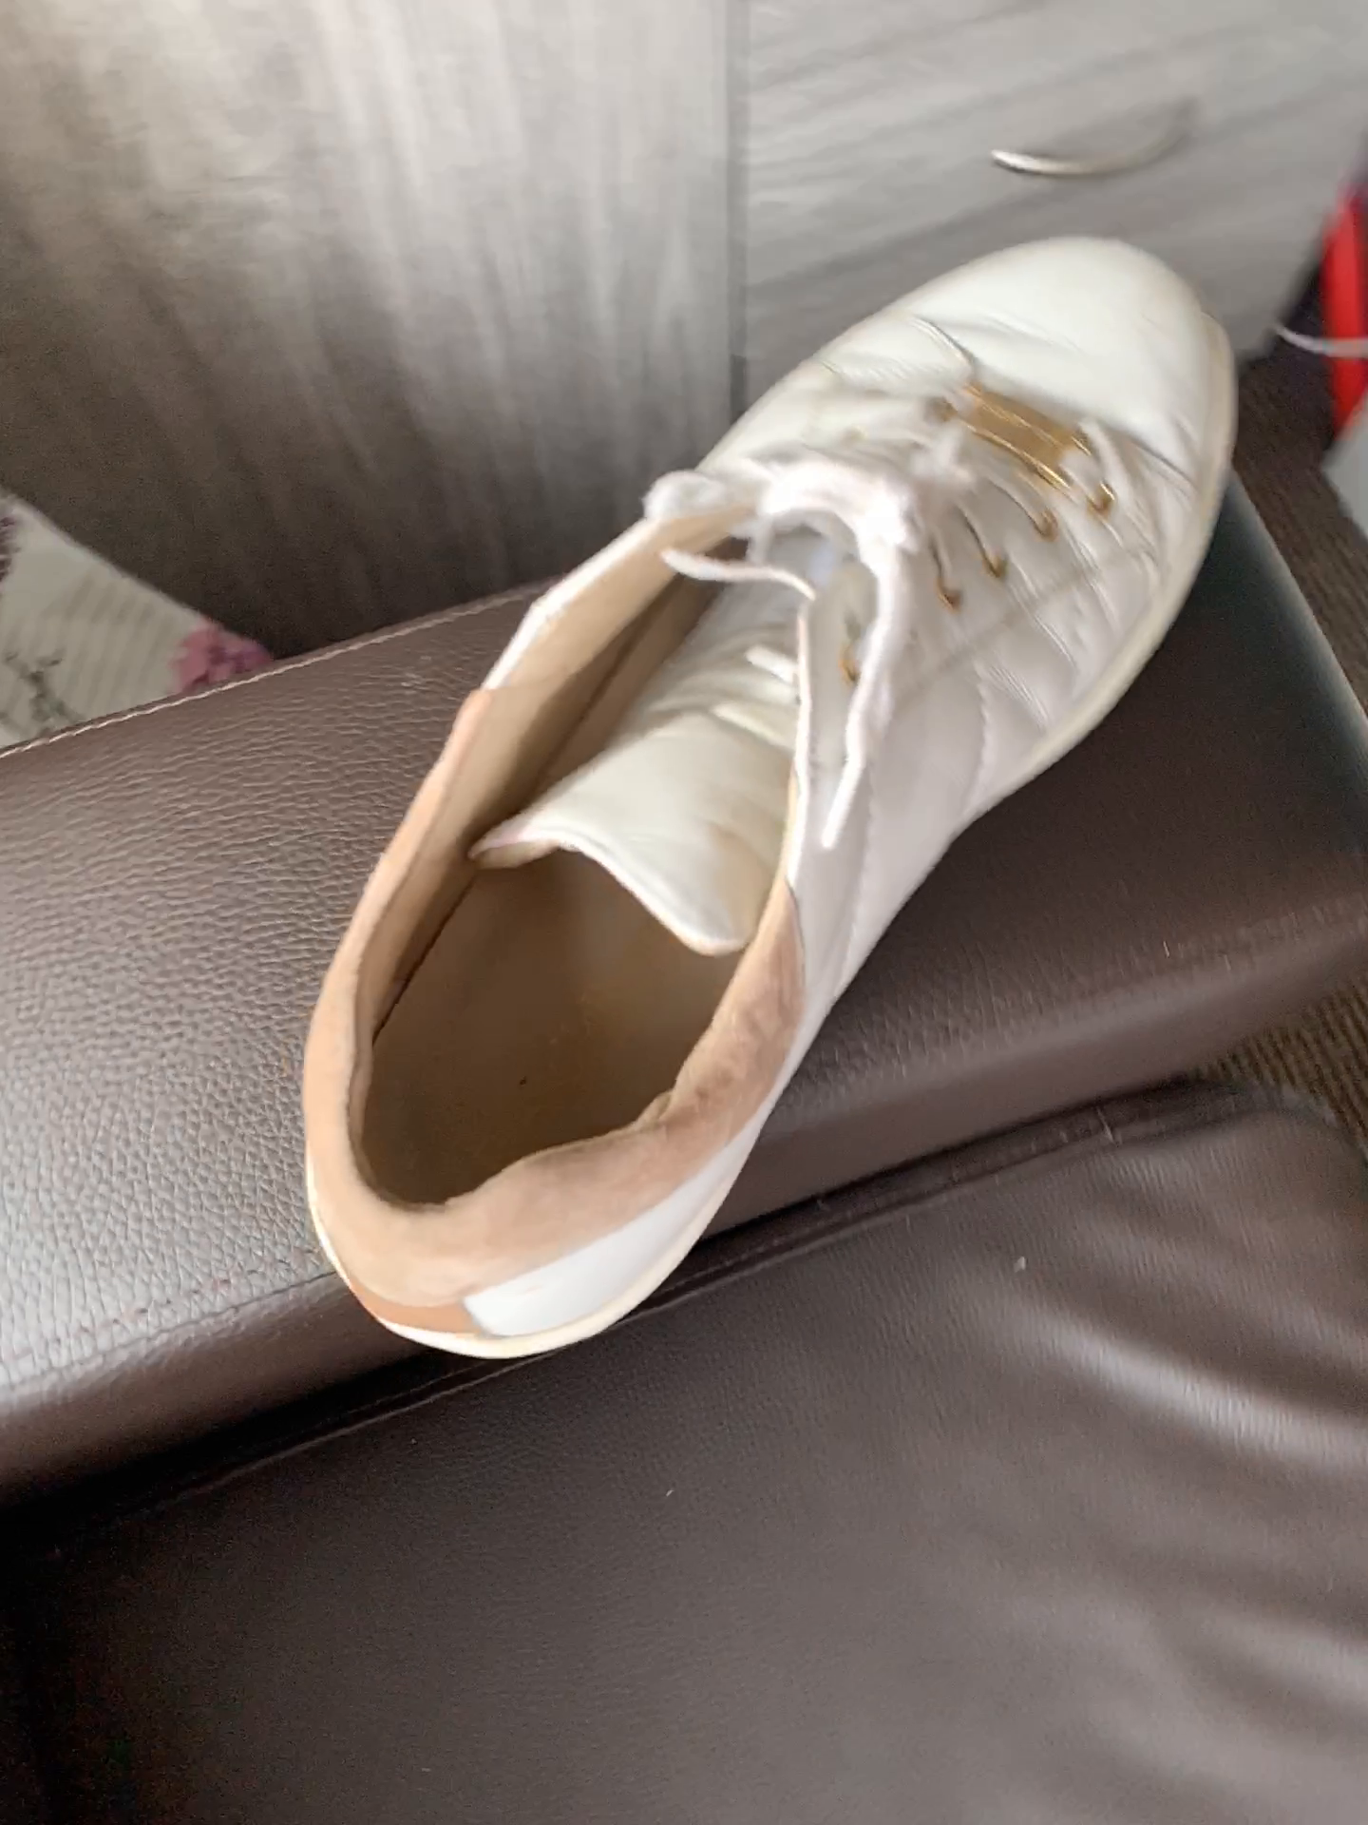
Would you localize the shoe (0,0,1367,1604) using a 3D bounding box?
[{"bbox_3d":[0.022,-0.048,0.243,0.110,0.110,0.271,32,75,11],"label":"shoe"}]
